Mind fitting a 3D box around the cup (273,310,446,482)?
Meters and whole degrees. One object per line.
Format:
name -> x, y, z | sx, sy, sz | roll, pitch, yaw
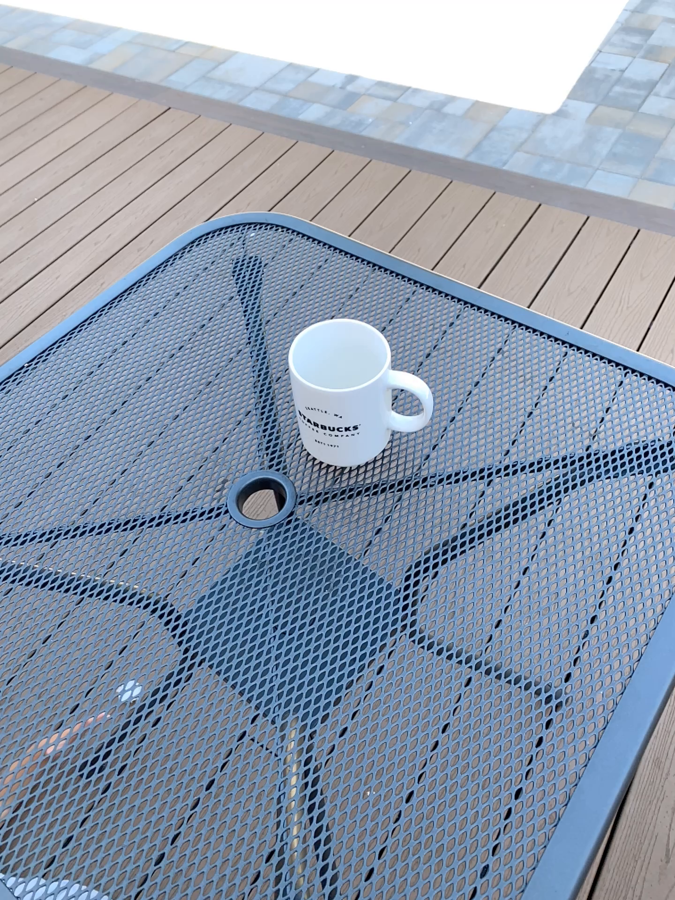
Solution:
cup -> 0.022, -0.045, 0.587 | 0.120, 0.100, 0.080 | 11, 55, 13
